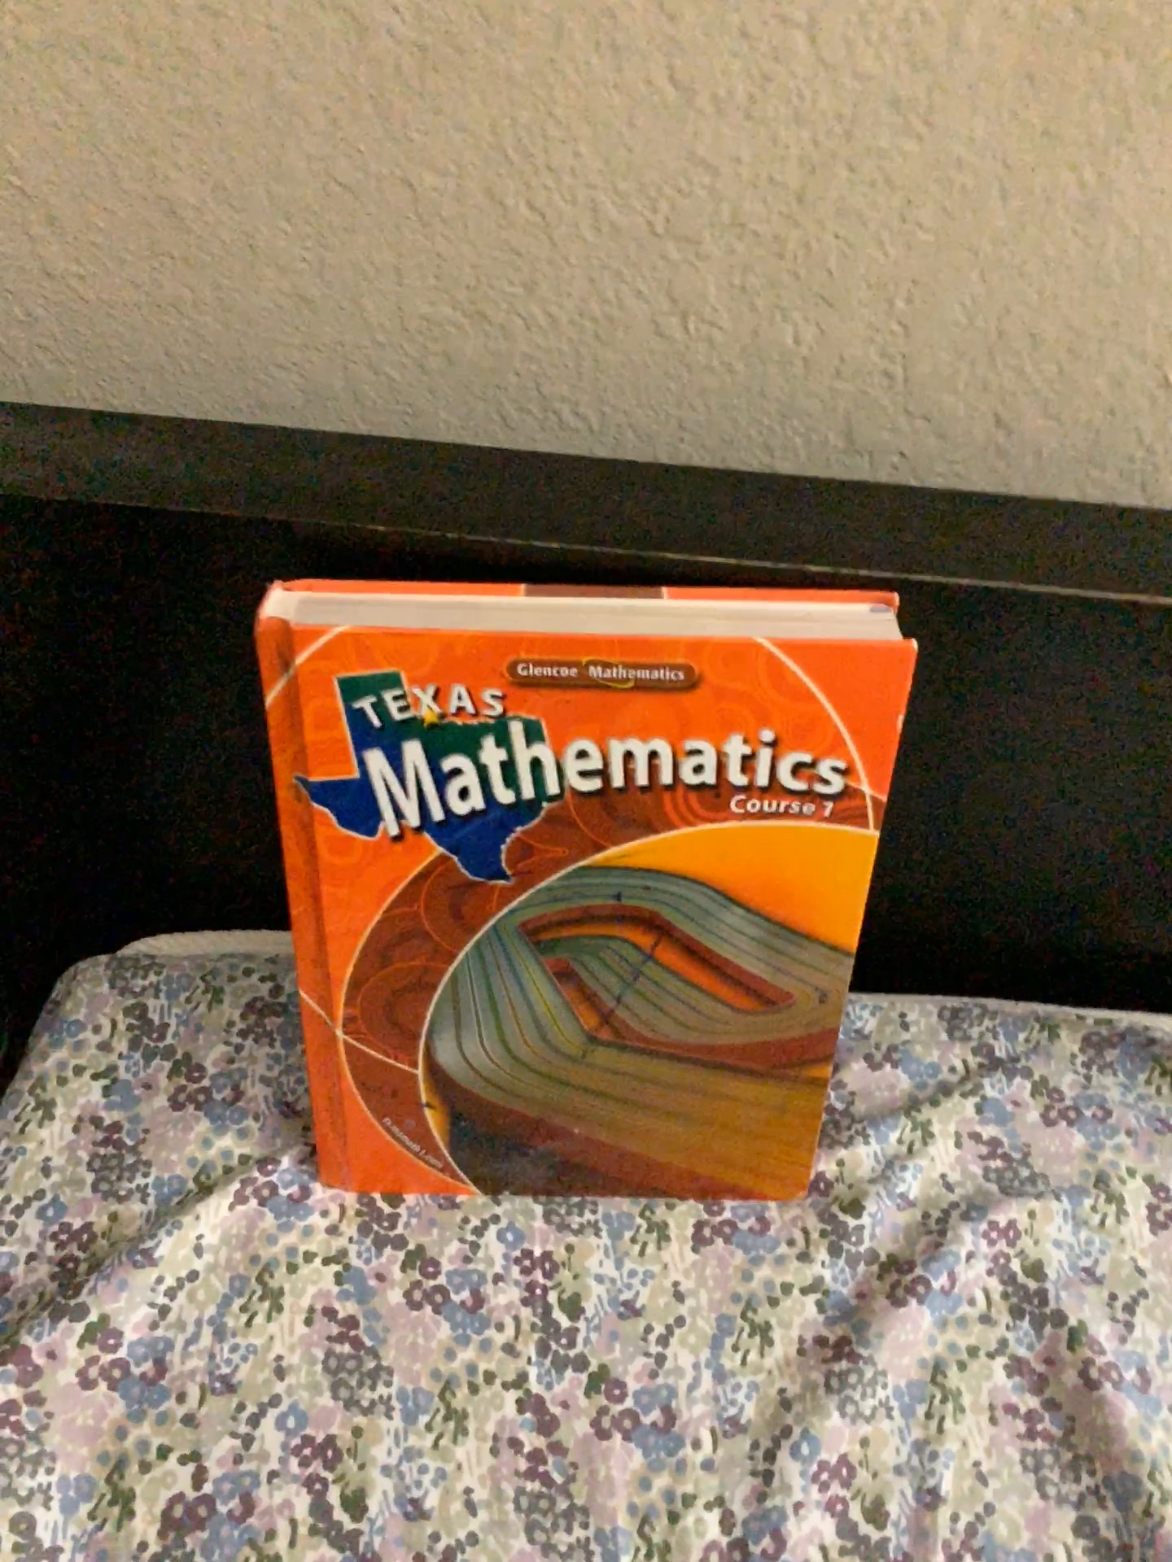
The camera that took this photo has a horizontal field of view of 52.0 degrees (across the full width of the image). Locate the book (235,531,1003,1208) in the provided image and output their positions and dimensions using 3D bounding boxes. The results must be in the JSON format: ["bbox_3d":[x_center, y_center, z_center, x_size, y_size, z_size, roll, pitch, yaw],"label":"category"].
[{"bbox_3d":[0.003,0.055,0.468,0.230,0.299,0.050,1,37,-4],"label":"book"}]
